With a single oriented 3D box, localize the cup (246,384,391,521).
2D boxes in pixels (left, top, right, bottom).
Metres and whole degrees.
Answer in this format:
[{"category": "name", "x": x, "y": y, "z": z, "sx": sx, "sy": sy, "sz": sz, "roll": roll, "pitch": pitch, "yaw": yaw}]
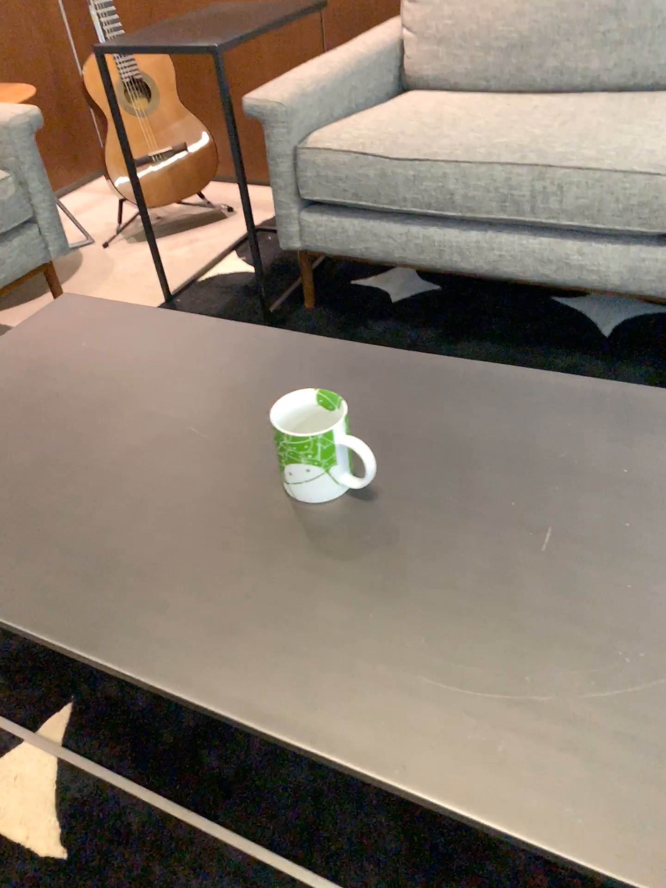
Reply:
[{"category": "cup", "x": -0.010, "y": 0.007, "z": 0.708, "sx": 0.120, "sy": 0.090, "sz": 0.090, "roll": 8, "pitch": 42, "yaw": 17}]
